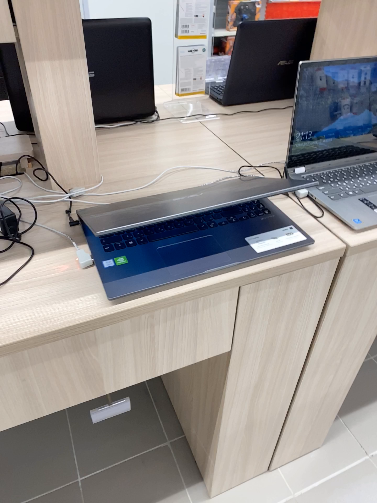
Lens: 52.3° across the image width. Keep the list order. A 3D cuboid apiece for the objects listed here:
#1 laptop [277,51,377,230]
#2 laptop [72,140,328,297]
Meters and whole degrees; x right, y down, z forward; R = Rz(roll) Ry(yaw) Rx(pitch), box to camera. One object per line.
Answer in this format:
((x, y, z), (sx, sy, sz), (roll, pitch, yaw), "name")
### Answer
((0.416, -0.243, 0.777), (0.351, 0.222, 0.260), (-14, 41, -20), "laptop")
((0.008, -0.079, 0.650), (0.354, 0.097, 0.230), (-13, 40, -19), "laptop")
